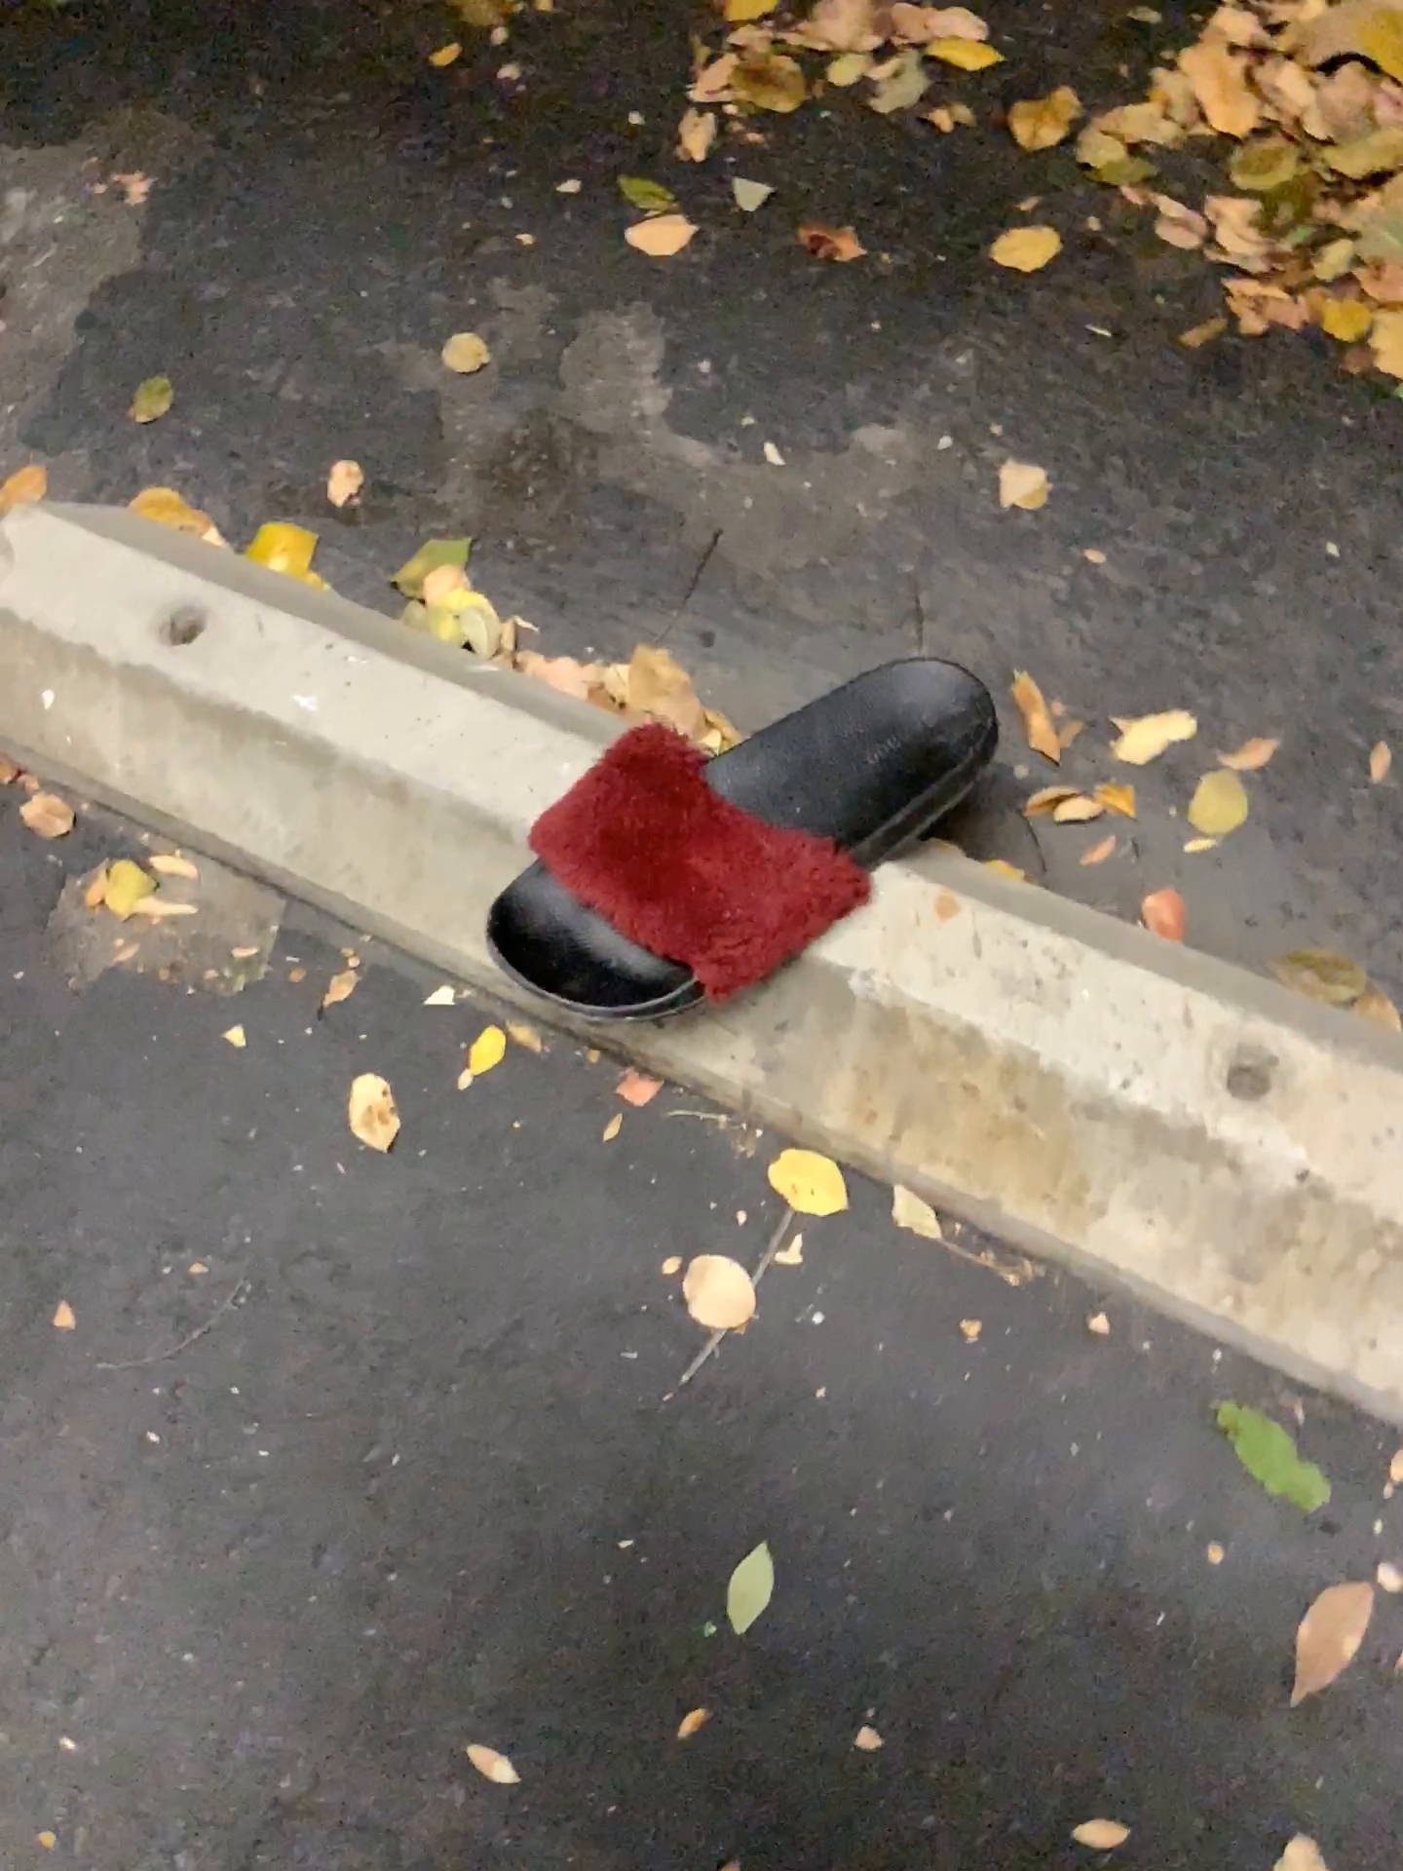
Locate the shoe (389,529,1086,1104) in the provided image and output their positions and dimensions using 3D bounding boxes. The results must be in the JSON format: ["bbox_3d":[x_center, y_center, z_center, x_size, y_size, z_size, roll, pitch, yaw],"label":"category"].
[{"bbox_3d":[0.017,-0.061,0.716,0.280,0.050,0.140,-32,64,-10],"label":"shoe"}]
